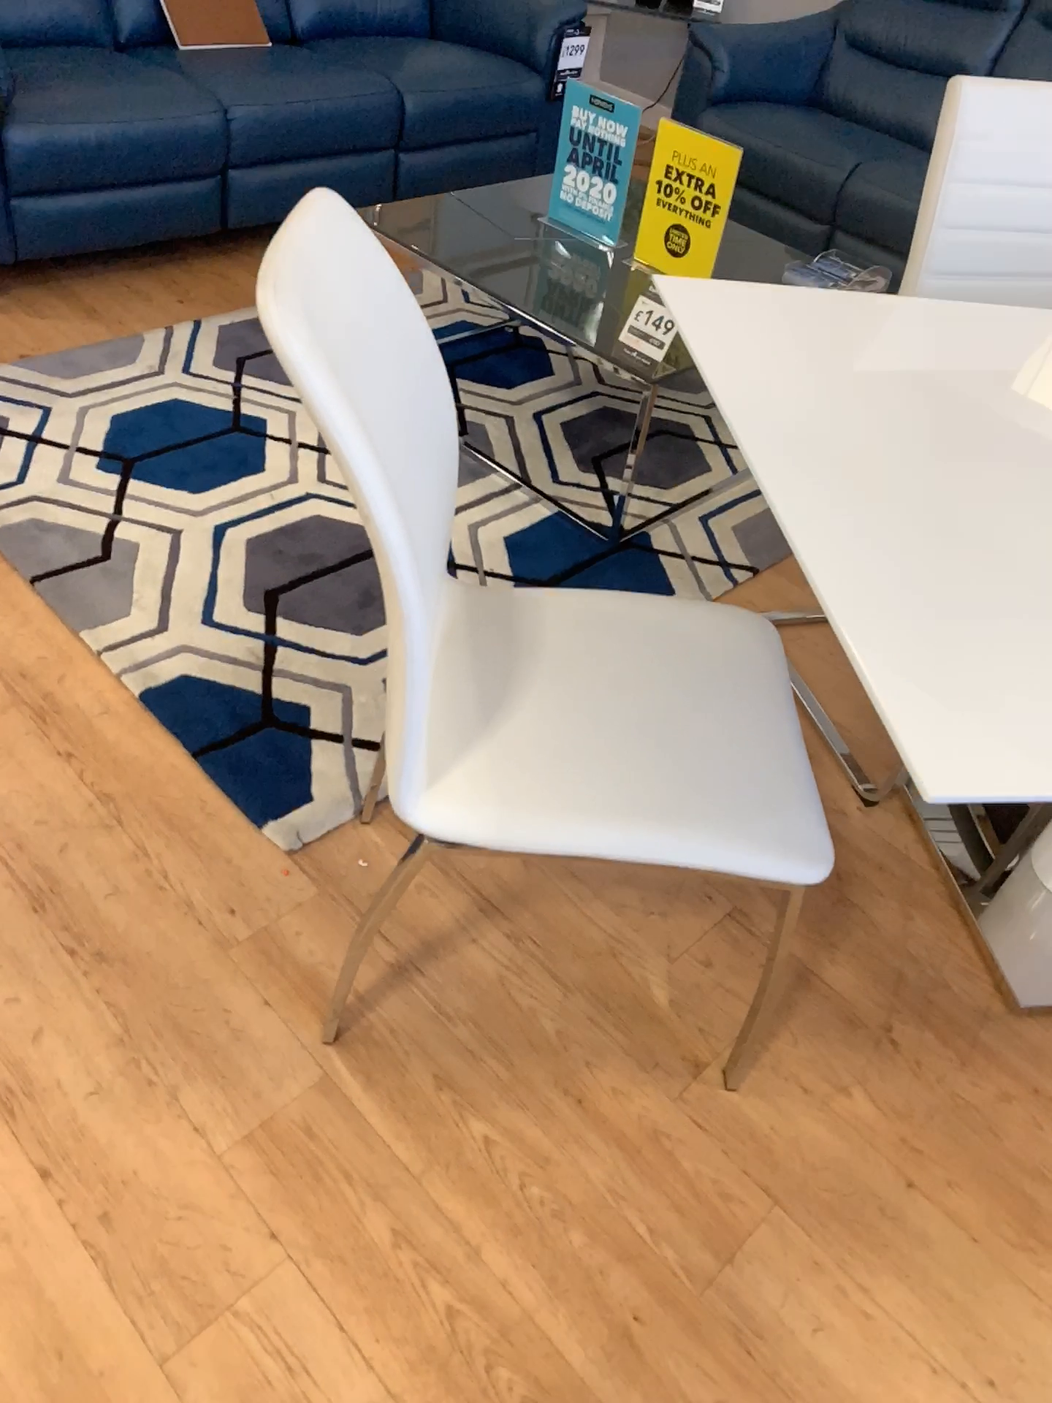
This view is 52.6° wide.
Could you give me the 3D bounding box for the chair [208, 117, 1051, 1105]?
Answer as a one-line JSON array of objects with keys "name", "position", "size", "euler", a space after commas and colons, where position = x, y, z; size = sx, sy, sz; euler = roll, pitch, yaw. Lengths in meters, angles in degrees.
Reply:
[{"name": "chair", "position": [0.056, -0.039, 1.156], "size": [0.628, 0.863, 0.520], "euler": [7, 42, -5]}]
